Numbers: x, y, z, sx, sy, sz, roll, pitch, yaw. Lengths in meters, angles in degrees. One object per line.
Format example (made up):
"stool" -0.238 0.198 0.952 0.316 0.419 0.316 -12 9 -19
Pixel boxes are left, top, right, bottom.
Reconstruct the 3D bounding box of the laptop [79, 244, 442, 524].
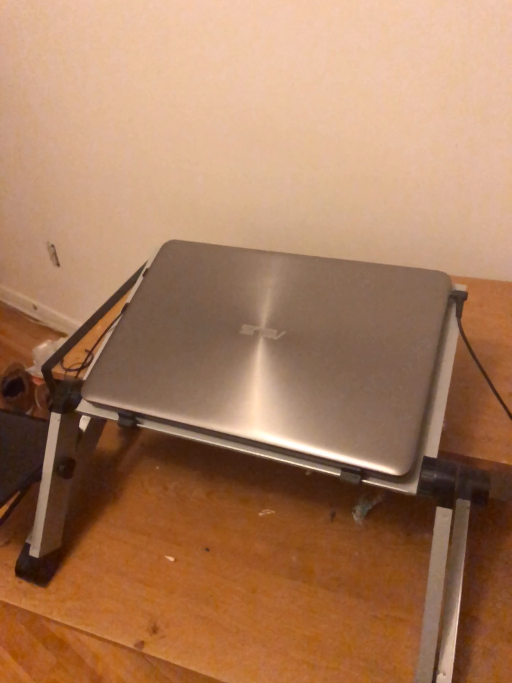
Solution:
"laptop" 0.007 0.023 0.667 0.362 0.071 0.250 10 55 22
